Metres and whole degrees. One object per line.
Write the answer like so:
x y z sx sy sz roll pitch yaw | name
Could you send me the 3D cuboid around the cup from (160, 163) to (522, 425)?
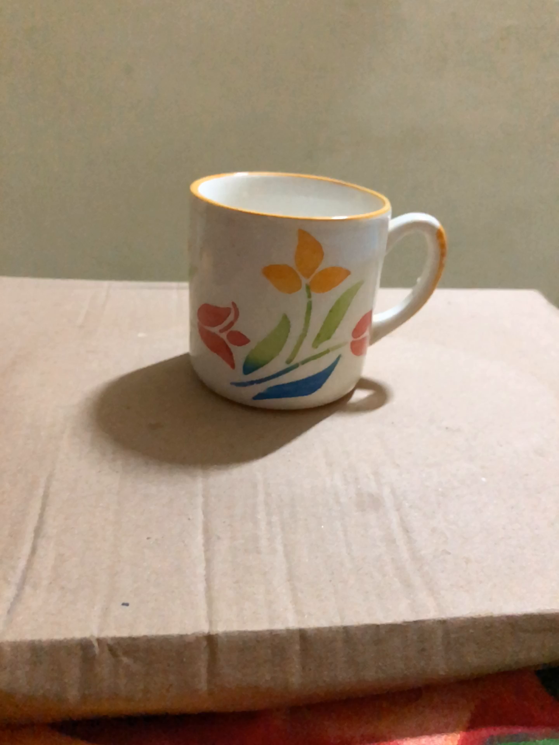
0.016 -0.041 0.265 0.120 0.080 0.090 -5 26 -15 | cup
